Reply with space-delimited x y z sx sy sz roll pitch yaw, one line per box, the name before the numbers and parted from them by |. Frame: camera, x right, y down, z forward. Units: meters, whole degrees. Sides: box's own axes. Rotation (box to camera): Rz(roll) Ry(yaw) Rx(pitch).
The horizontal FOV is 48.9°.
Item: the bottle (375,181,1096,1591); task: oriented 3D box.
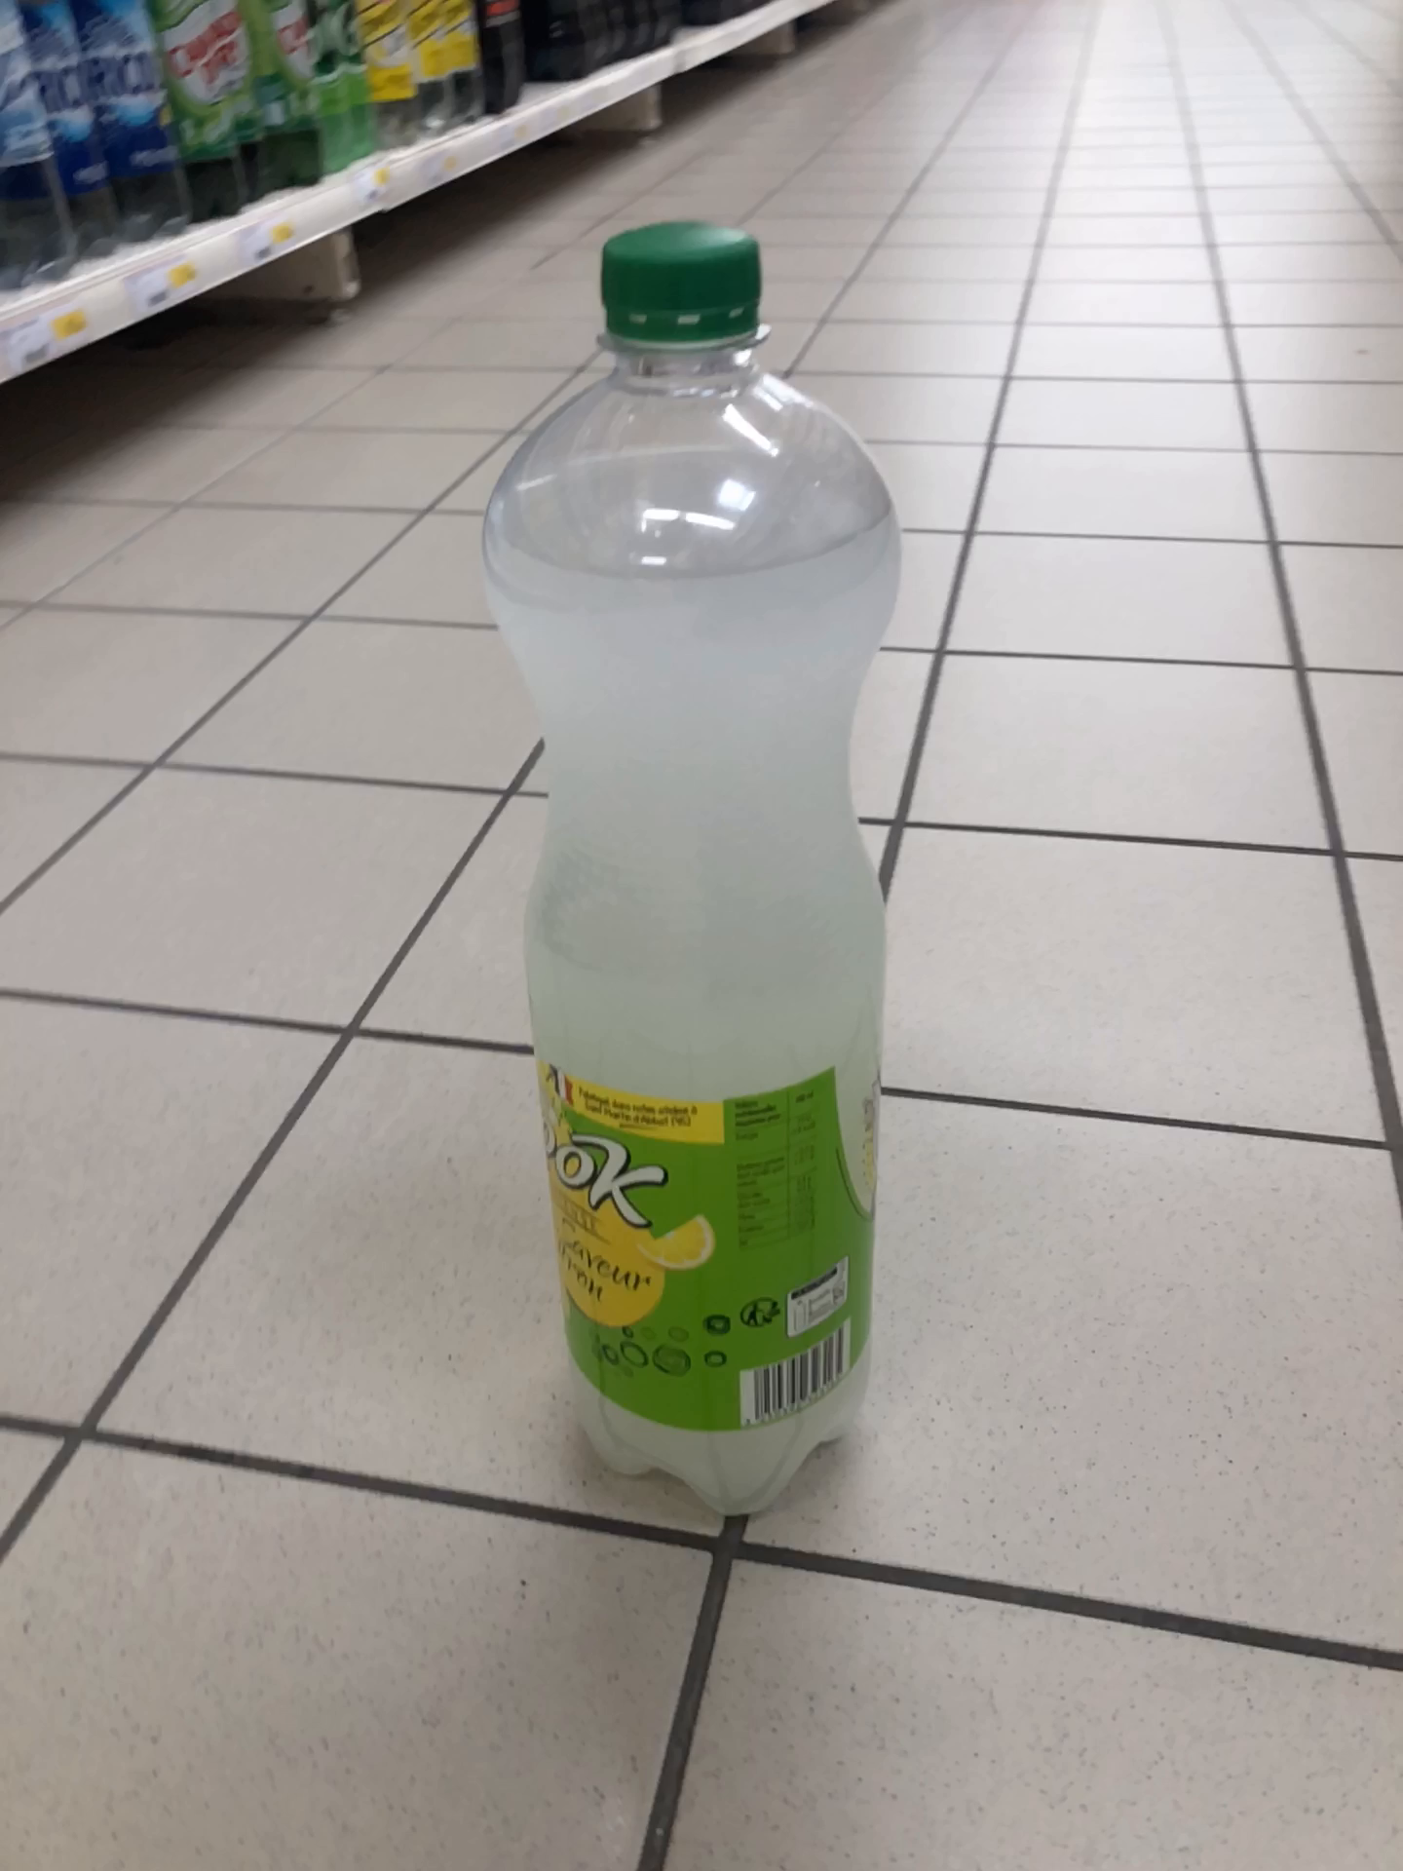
bottle | 0.007 0.002 0.366 0.100 0.308 0.100 -2 33 1
